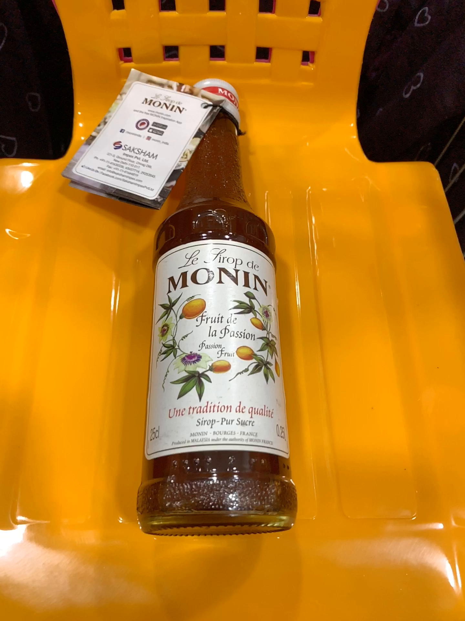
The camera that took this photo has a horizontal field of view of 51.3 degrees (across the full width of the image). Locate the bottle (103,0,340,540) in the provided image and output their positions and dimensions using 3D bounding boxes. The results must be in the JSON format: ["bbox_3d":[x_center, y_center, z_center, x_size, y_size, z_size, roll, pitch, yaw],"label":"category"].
[{"bbox_3d":[-0.005,-0.030,0.196,0.060,0.060,0.220,0,65,-2],"label":"bottle"}]
